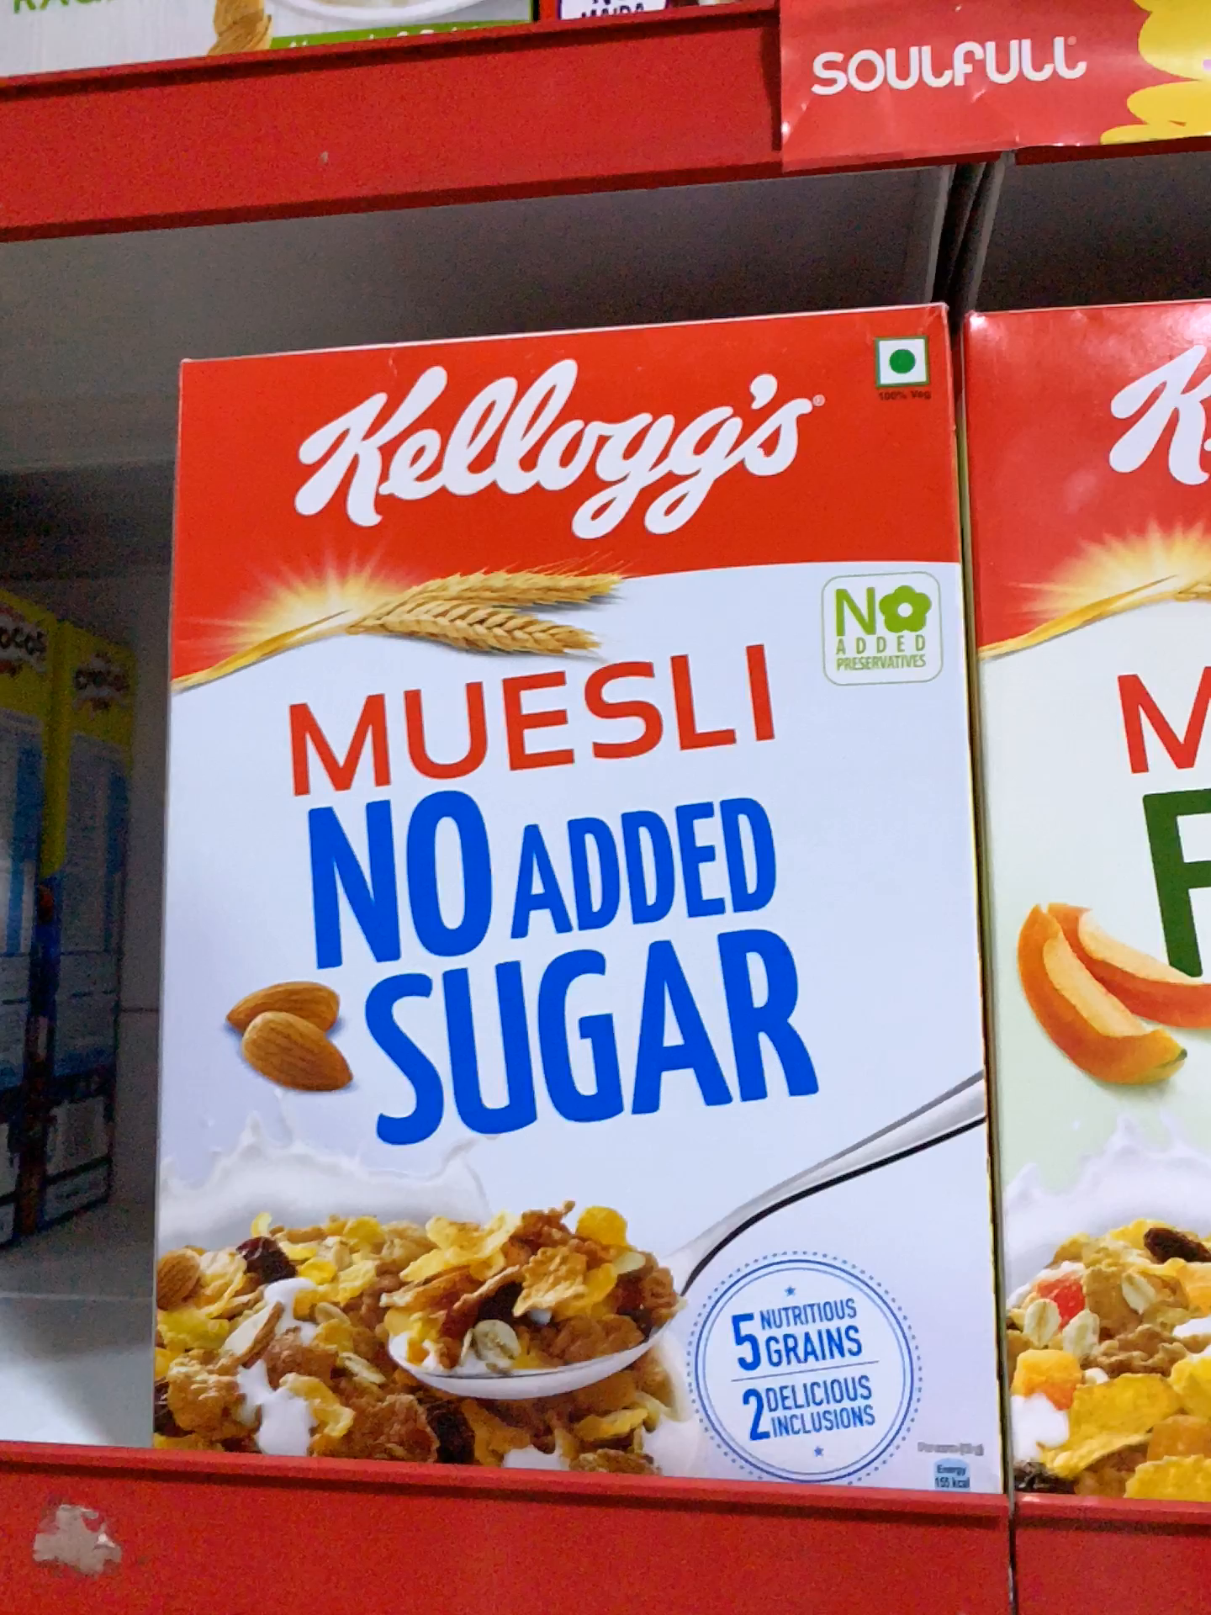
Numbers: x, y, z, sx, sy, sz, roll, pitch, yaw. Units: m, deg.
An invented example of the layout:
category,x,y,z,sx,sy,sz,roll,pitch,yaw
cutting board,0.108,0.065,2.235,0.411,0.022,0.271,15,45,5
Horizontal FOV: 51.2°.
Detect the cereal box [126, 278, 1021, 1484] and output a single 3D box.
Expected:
category,x,y,z,sx,sy,sz,roll,pitch,yaw
cereal box,-0.008,0.012,0.289,0.180,0.241,0.050,-1,-7,8
